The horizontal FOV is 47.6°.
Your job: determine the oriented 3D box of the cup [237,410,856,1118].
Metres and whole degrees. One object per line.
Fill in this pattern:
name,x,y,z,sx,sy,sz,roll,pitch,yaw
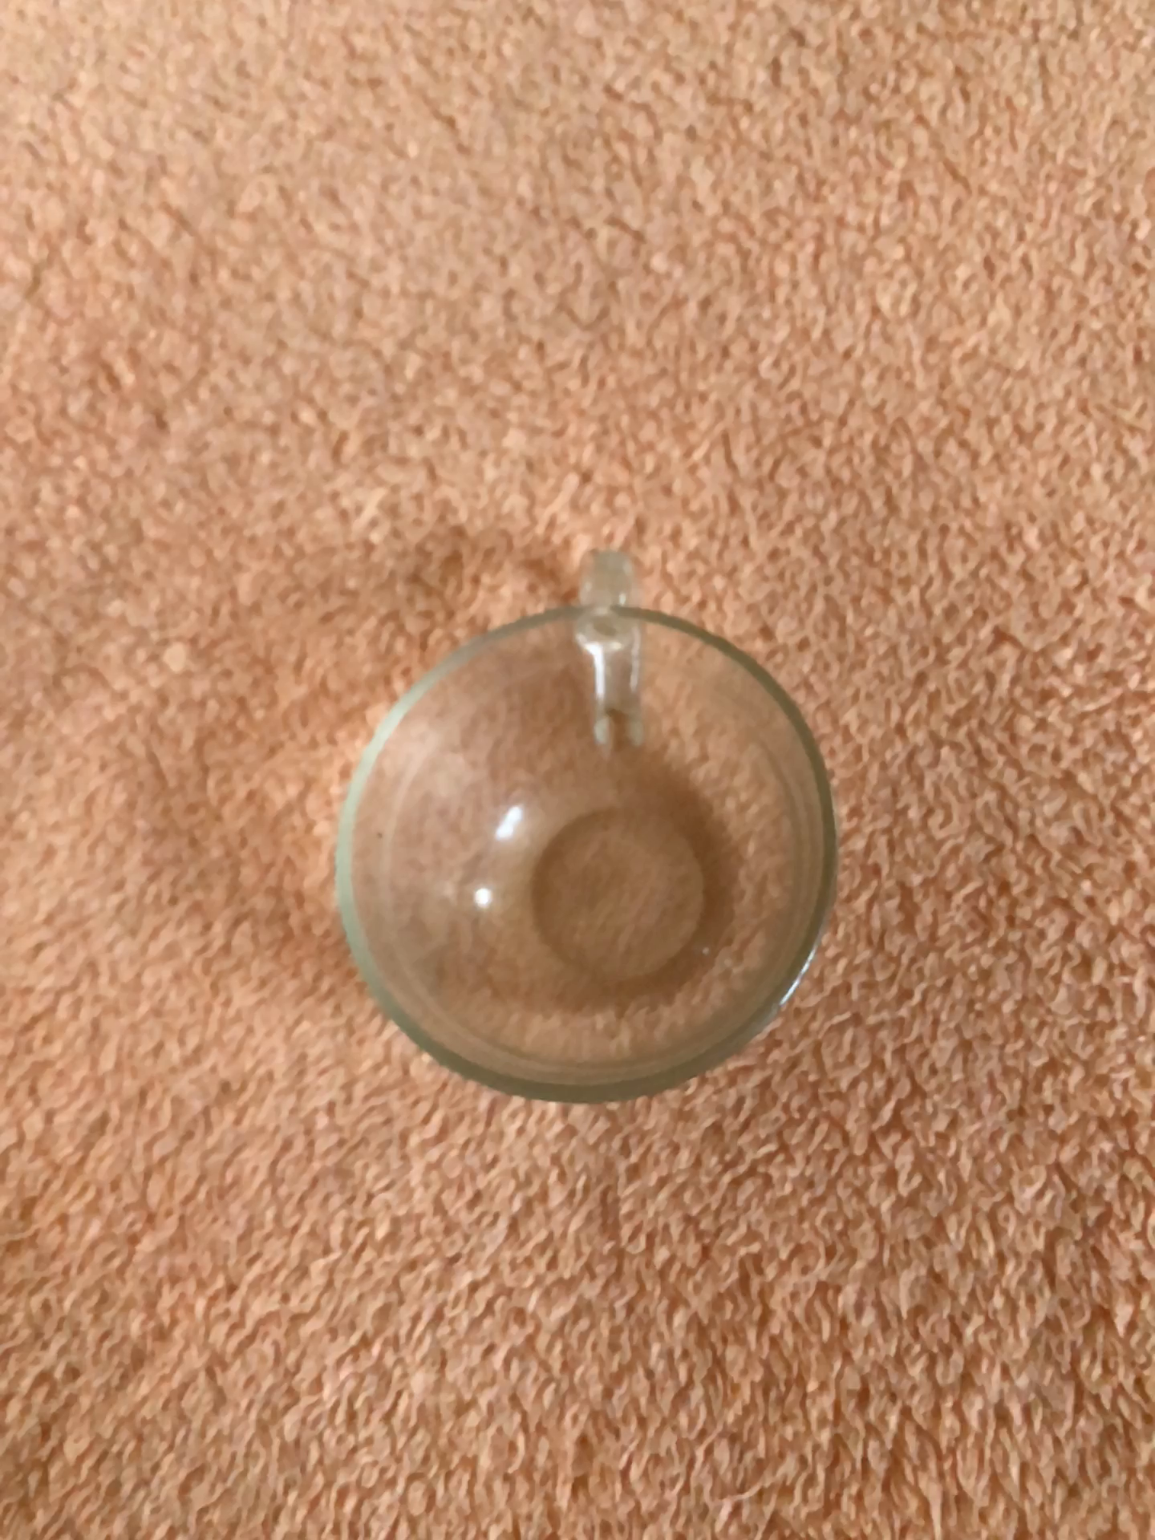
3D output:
cup,-0.004,0.001,0.224,0.090,0.040,0.110,-3,73,7
